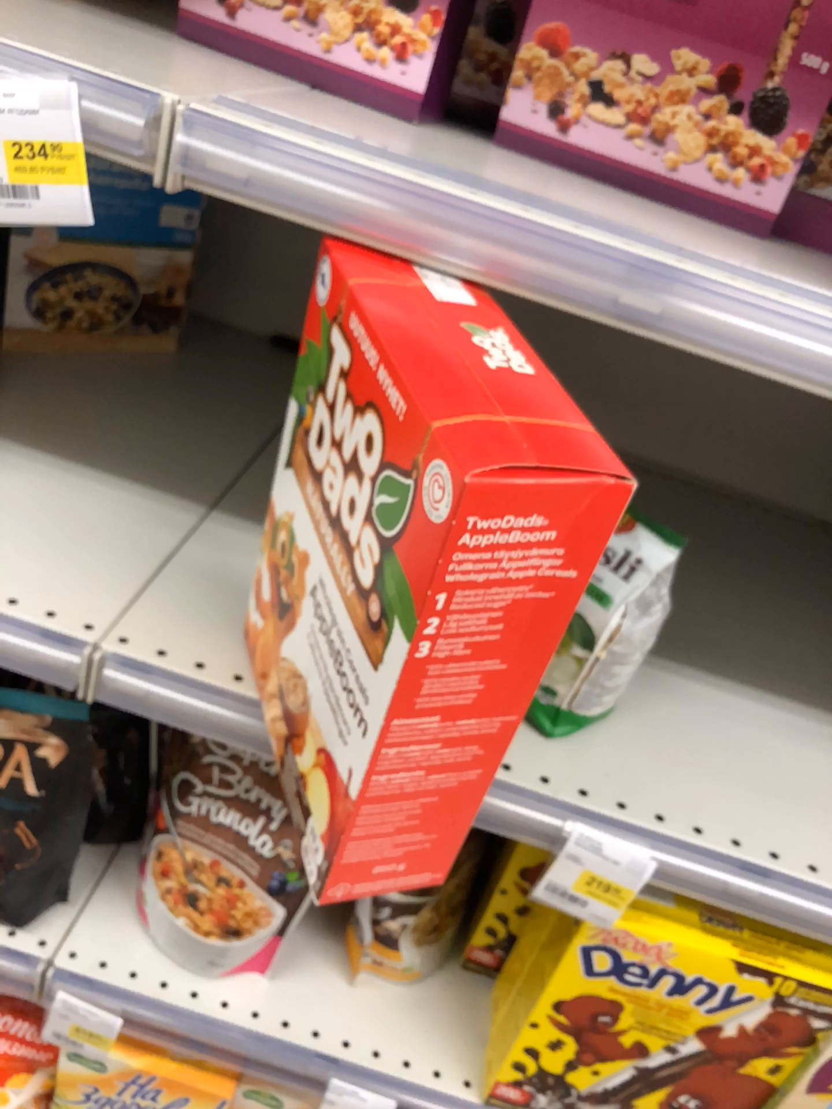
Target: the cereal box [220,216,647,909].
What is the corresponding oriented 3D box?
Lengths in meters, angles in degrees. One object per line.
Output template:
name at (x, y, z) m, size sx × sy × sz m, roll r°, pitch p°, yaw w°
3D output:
cereal box at (-0.021, 0.008, 0.465) m, size 0.080 × 0.268 × 0.201 m, roll -1°, pitch 41°, yaw -25°
